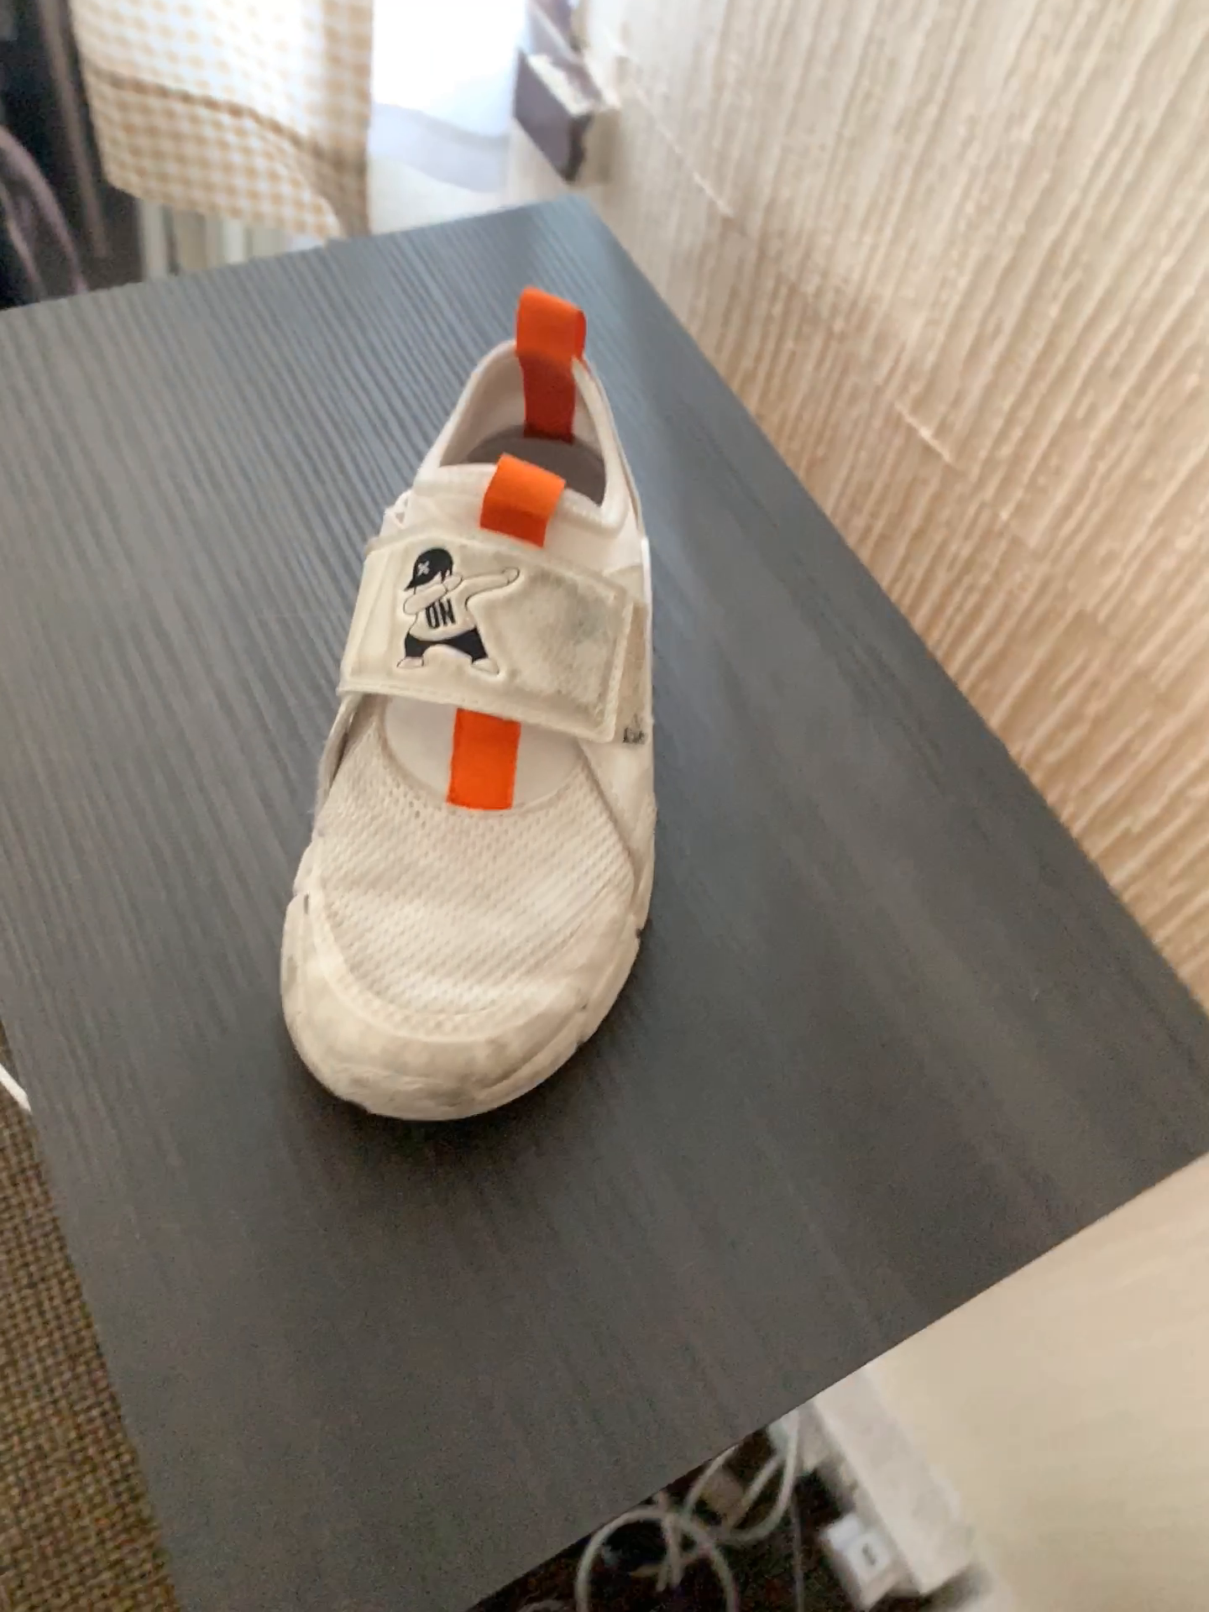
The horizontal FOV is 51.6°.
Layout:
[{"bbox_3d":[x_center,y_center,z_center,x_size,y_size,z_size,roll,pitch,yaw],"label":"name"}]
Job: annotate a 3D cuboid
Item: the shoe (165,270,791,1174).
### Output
[{"bbox_3d":[-0.020,-0.033,0.330,0.100,0.070,0.223,13,58,-1],"label":"shoe"}]
